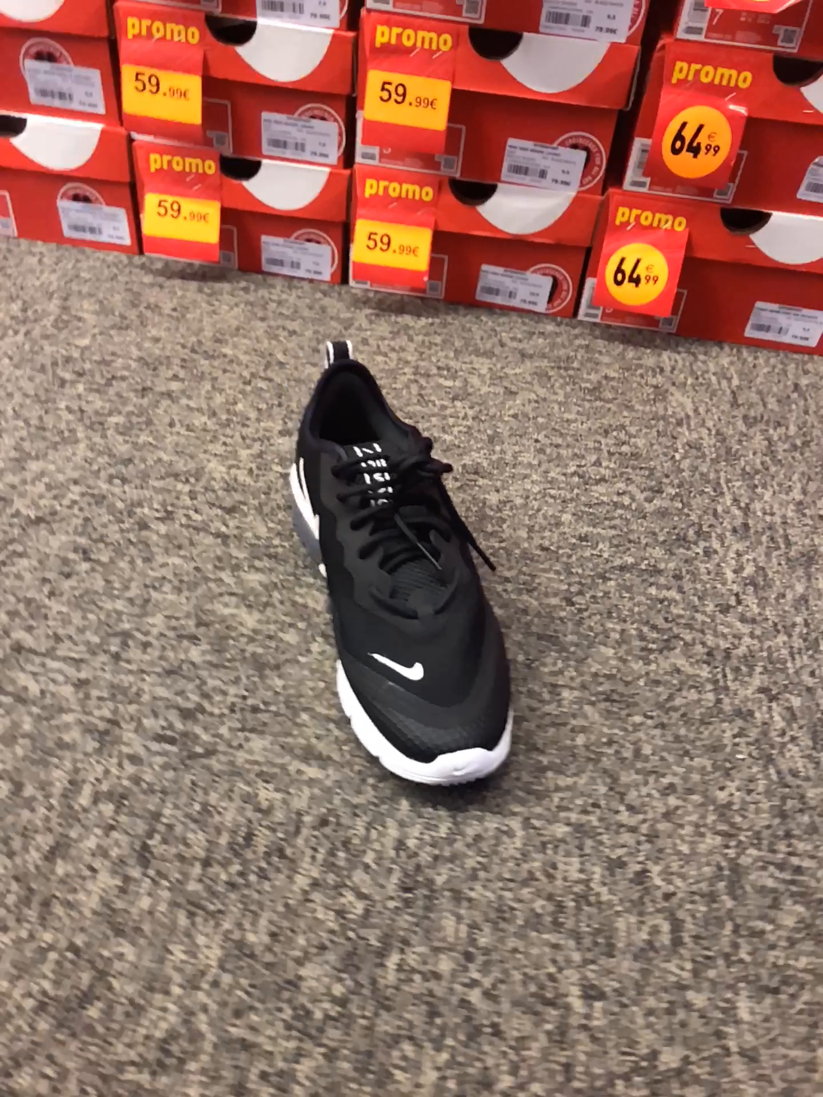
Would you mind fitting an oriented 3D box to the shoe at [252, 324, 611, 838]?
[{"bbox_3d":[-0.009,0.001,0.485,0.100,0.109,0.257,-9,47,-17],"label":"shoe"}]
